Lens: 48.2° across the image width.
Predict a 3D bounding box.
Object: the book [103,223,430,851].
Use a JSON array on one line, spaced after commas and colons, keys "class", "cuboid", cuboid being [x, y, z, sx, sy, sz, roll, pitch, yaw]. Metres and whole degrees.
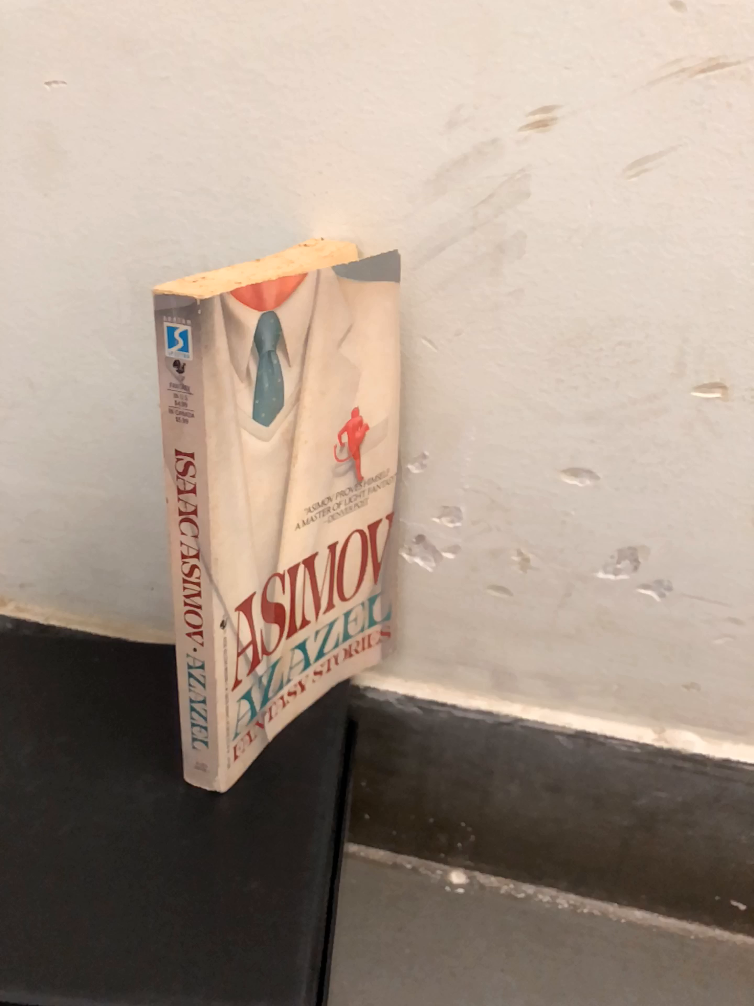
[{"class": "book", "cuboid": [-0.025, 0.002, 0.318, 0.030, 0.189, 0.151, 11, 27, 24]}]
